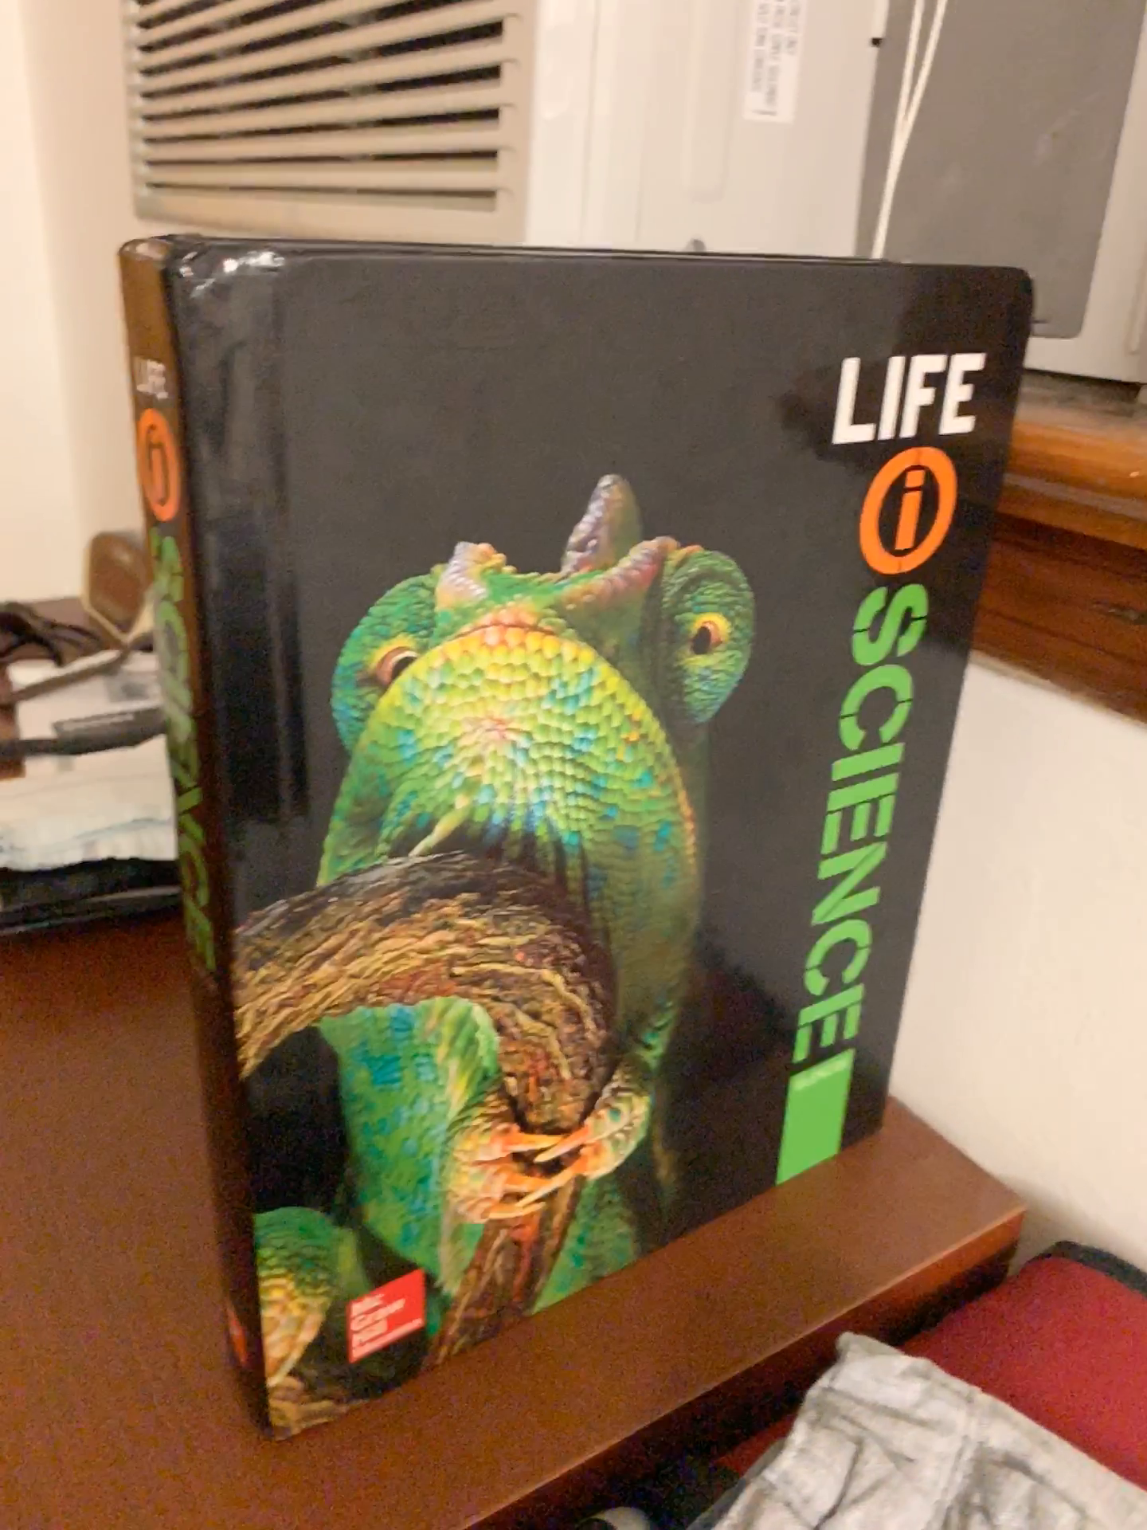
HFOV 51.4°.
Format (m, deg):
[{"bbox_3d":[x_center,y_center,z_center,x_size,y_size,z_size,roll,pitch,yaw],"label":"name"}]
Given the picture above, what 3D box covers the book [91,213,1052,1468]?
[{"bbox_3d":[0.009,0.014,0.323,0.227,0.286,0.051,-13,28,-33],"label":"book"}]
